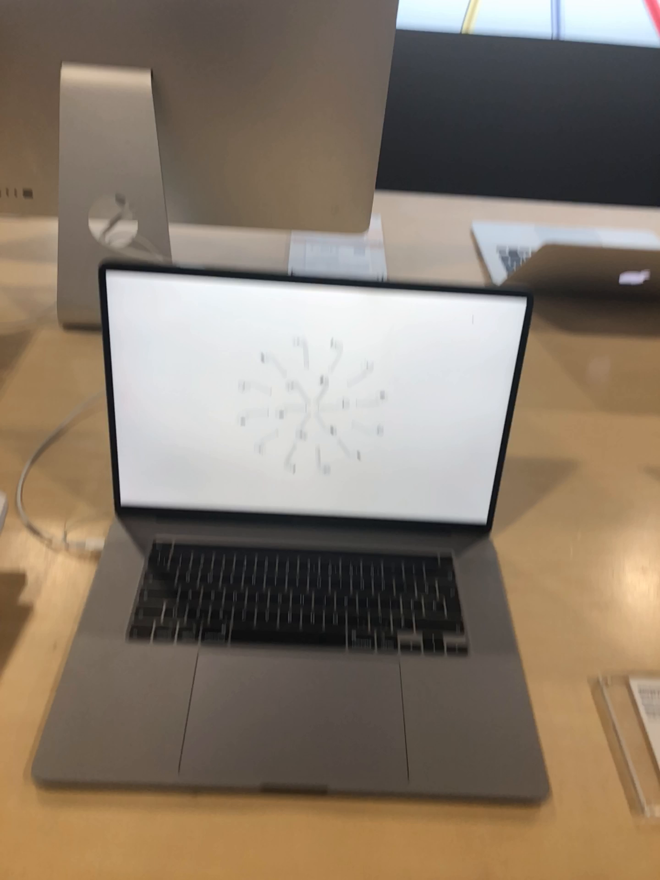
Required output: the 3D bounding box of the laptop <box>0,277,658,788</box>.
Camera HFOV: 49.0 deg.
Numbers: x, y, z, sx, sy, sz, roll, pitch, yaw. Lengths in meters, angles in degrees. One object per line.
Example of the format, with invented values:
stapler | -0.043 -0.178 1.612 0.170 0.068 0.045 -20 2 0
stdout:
laptop | -0.016 0.055 0.532 0.343 0.227 0.292 2 39 -2
